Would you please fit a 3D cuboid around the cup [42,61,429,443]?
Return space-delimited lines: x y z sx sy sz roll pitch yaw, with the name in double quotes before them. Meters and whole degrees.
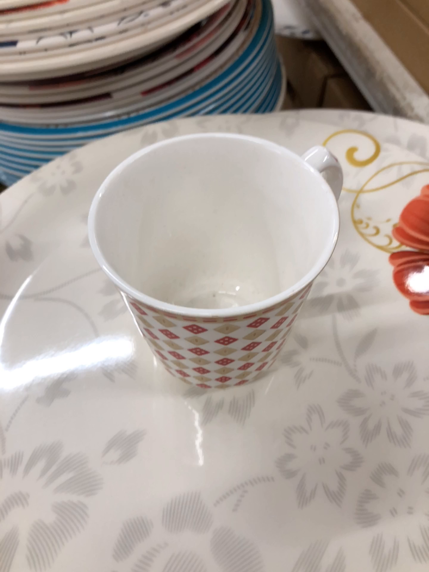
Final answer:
"cup" 0.014 -0.015 0.194 0.120 0.080 0.080 -28 60 -17
